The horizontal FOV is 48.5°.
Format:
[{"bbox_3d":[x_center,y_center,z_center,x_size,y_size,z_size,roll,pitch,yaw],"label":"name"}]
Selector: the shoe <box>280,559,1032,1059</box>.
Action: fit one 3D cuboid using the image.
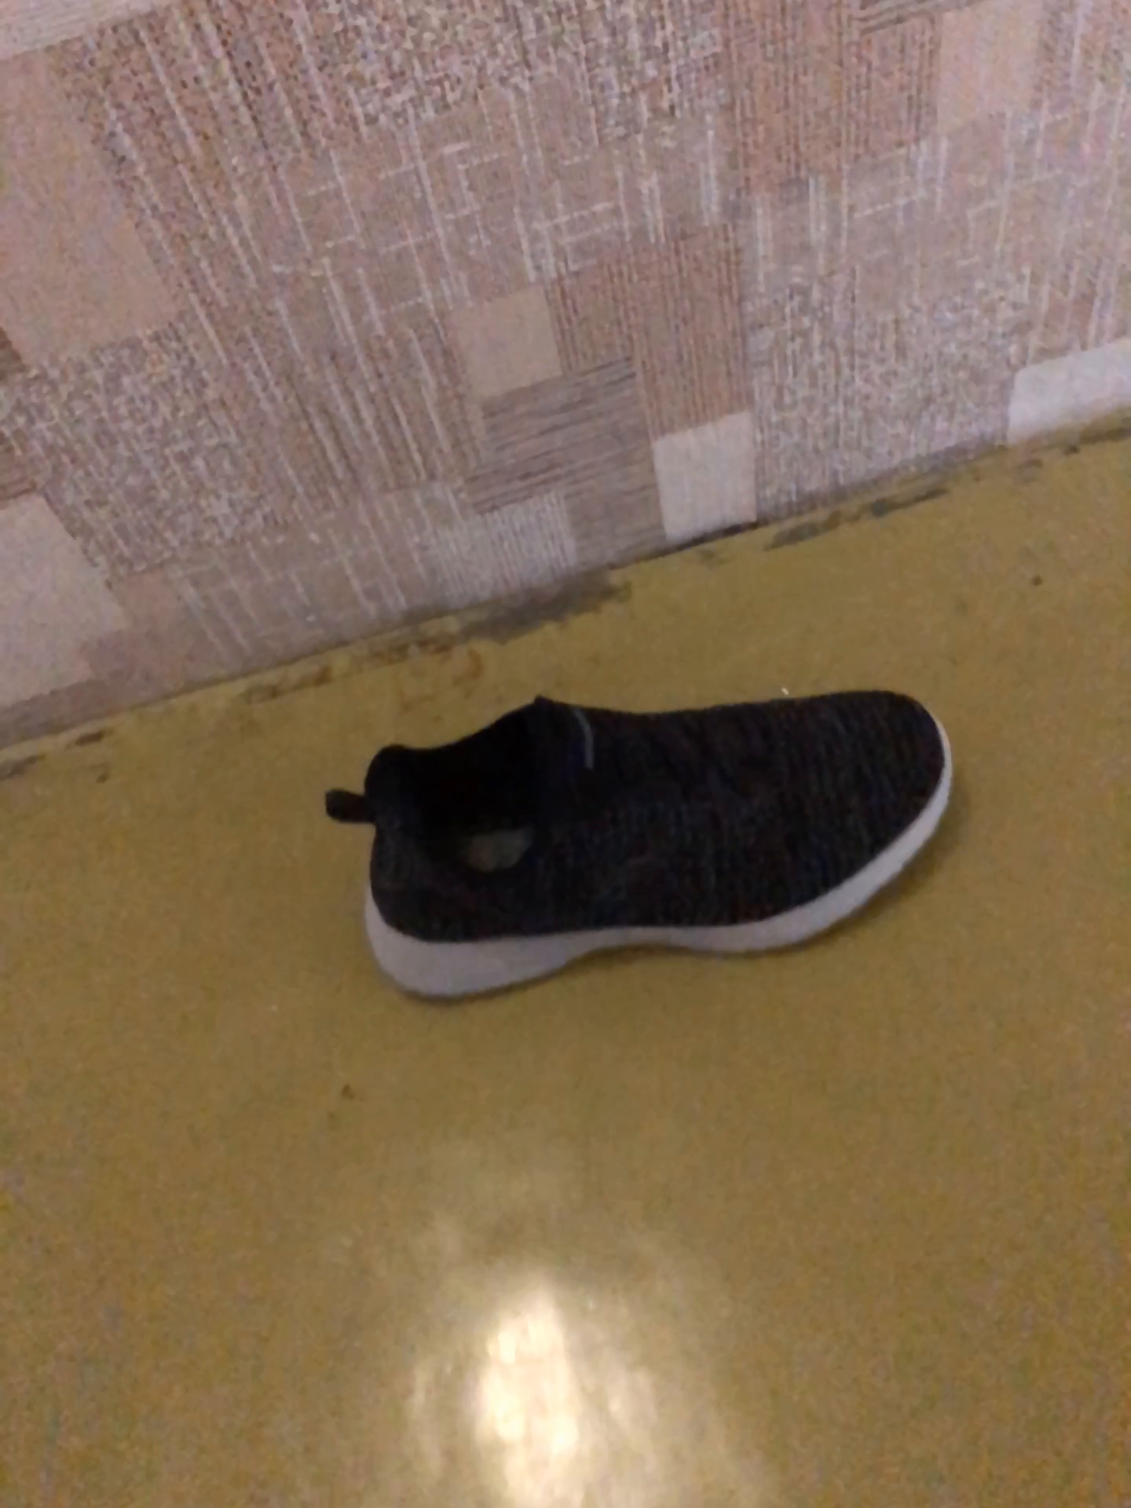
[{"bbox_3d":[0.038,0.030,0.614,0.320,0.120,0.130,-14,54,3],"label":"shoe"}]
